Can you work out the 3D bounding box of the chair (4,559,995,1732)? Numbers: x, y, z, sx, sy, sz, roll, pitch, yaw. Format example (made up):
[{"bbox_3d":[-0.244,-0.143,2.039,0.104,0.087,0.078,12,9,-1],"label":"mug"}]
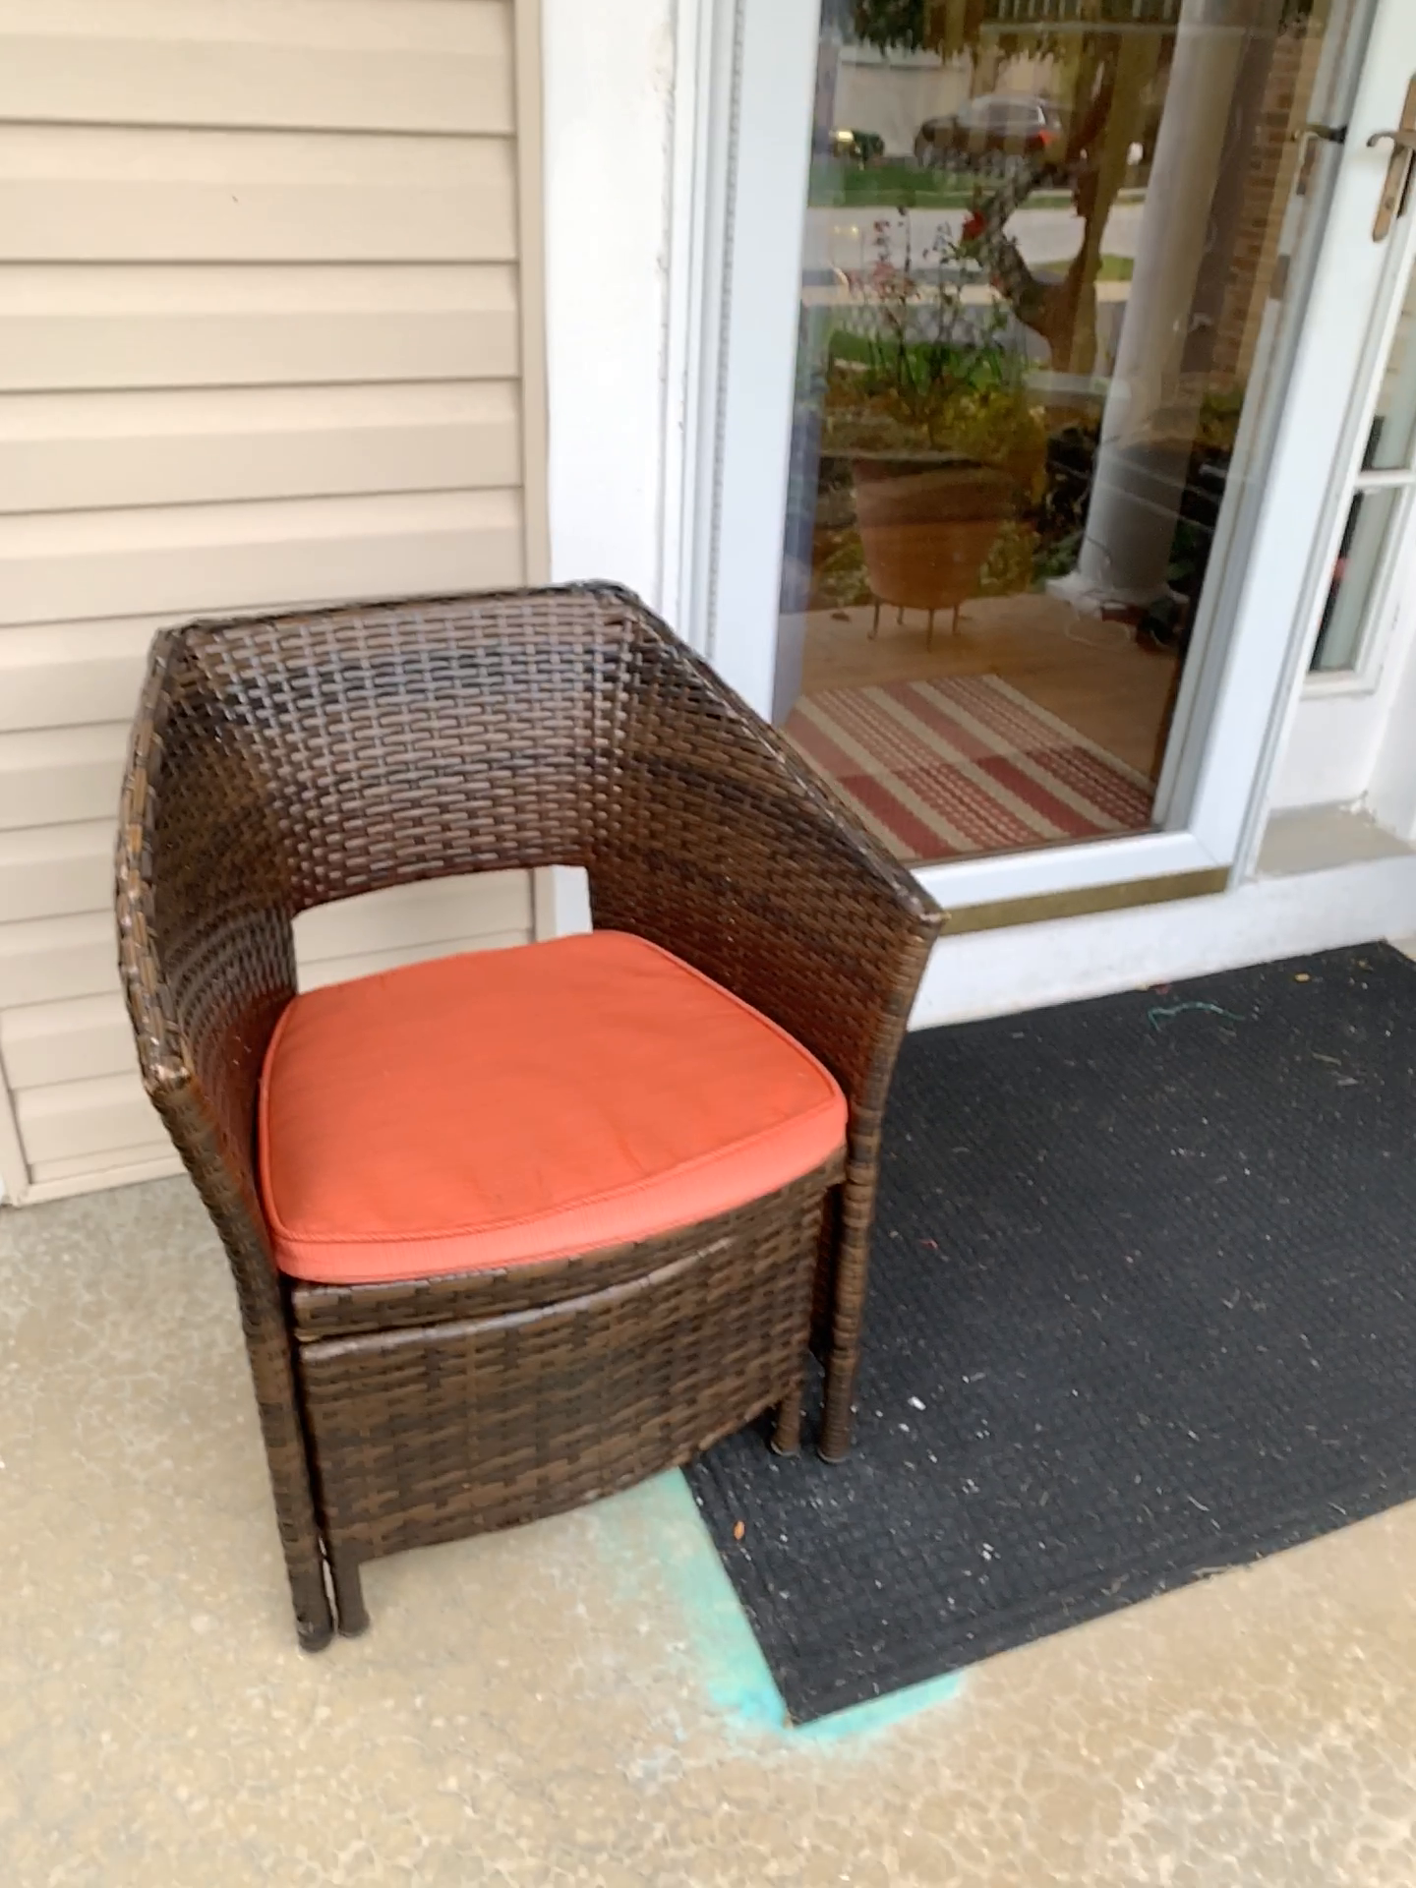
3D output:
[{"bbox_3d":[-0.220,0.122,1.387,0.642,0.758,0.608,-13,33,-24],"label":"chair"}]

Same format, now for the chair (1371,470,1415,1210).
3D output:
[{"bbox_3d":[1.481,-0.181,1.997,0.642,0.758,0.609,-8,32,-17],"label":"chair"}]
